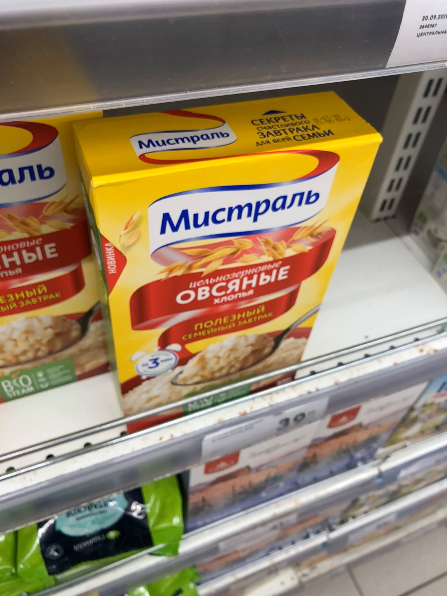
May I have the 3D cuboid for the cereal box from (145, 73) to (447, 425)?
[{"bbox_3d":[0.037,-0.015,0.304,0.150,0.209,0.050,-12,51,-16],"label":"cereal box"}]
